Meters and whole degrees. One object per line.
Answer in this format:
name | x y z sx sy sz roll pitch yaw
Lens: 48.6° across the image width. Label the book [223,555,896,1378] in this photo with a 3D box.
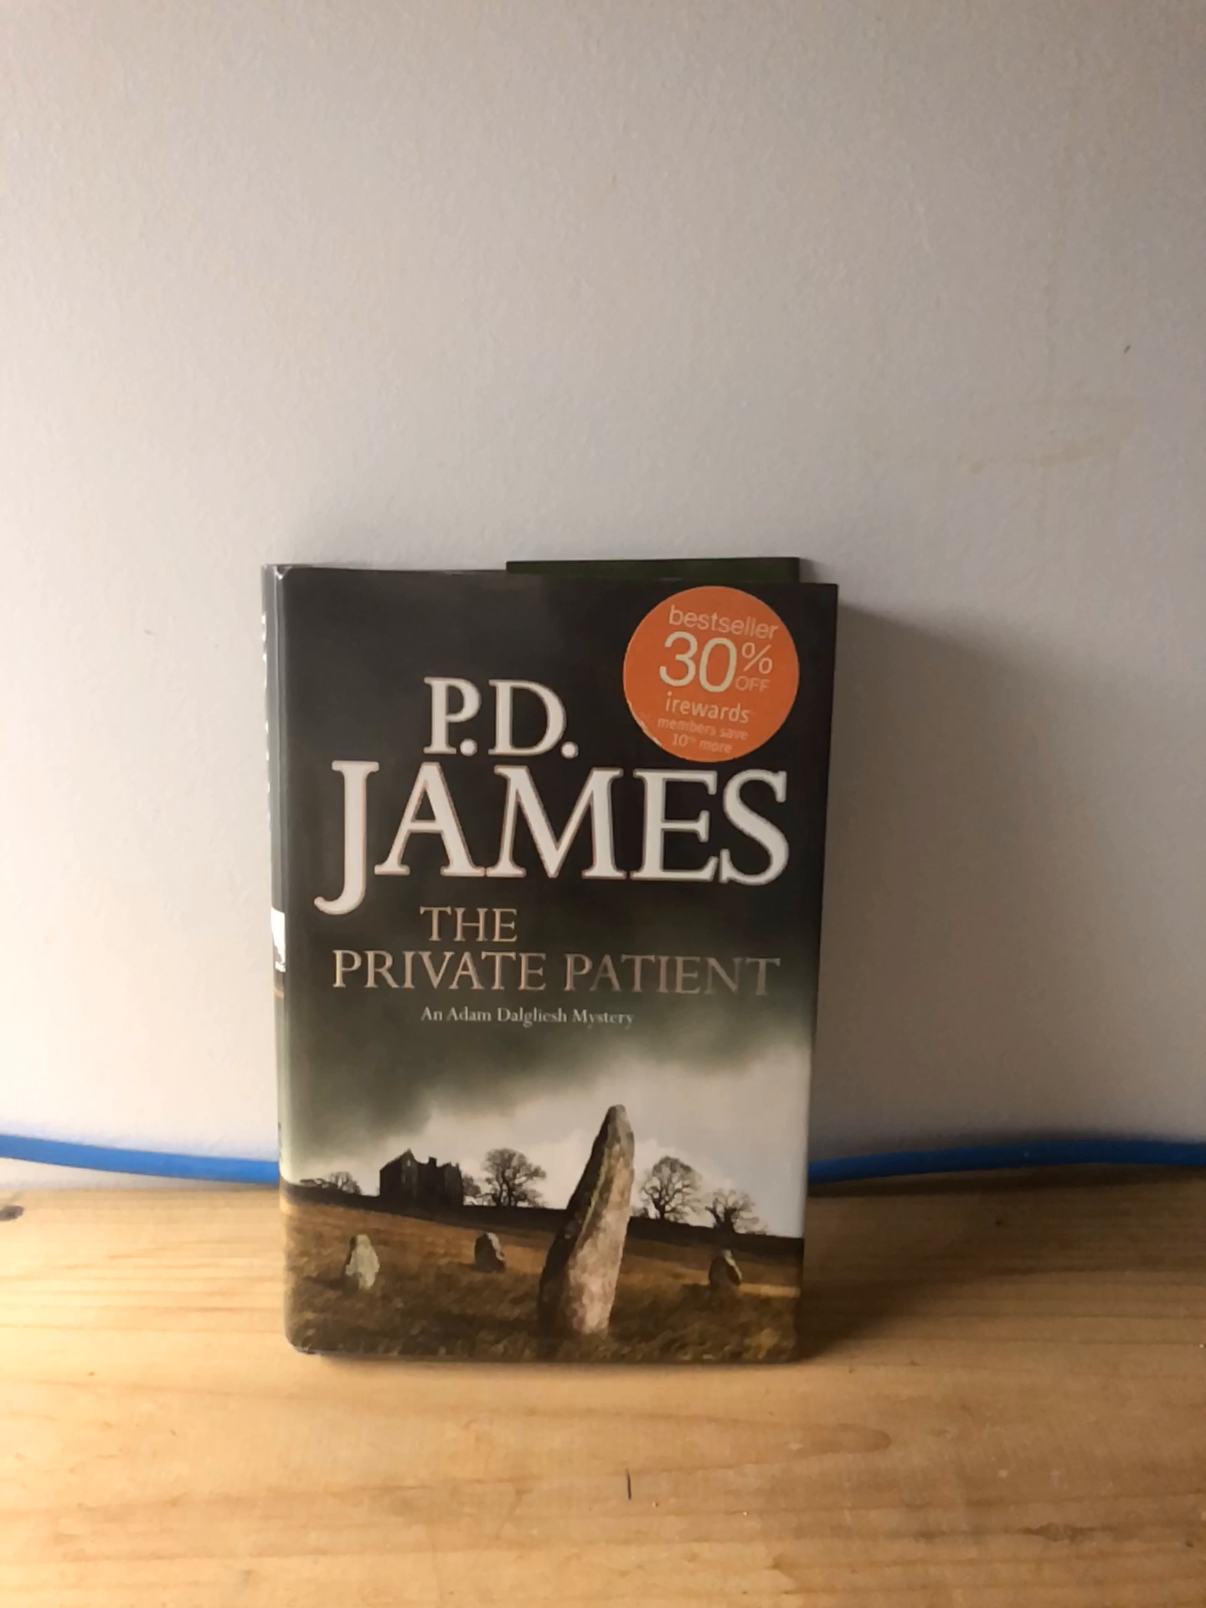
book | -0.013 0.045 0.390 0.180 0.229 0.040 1 8 5
